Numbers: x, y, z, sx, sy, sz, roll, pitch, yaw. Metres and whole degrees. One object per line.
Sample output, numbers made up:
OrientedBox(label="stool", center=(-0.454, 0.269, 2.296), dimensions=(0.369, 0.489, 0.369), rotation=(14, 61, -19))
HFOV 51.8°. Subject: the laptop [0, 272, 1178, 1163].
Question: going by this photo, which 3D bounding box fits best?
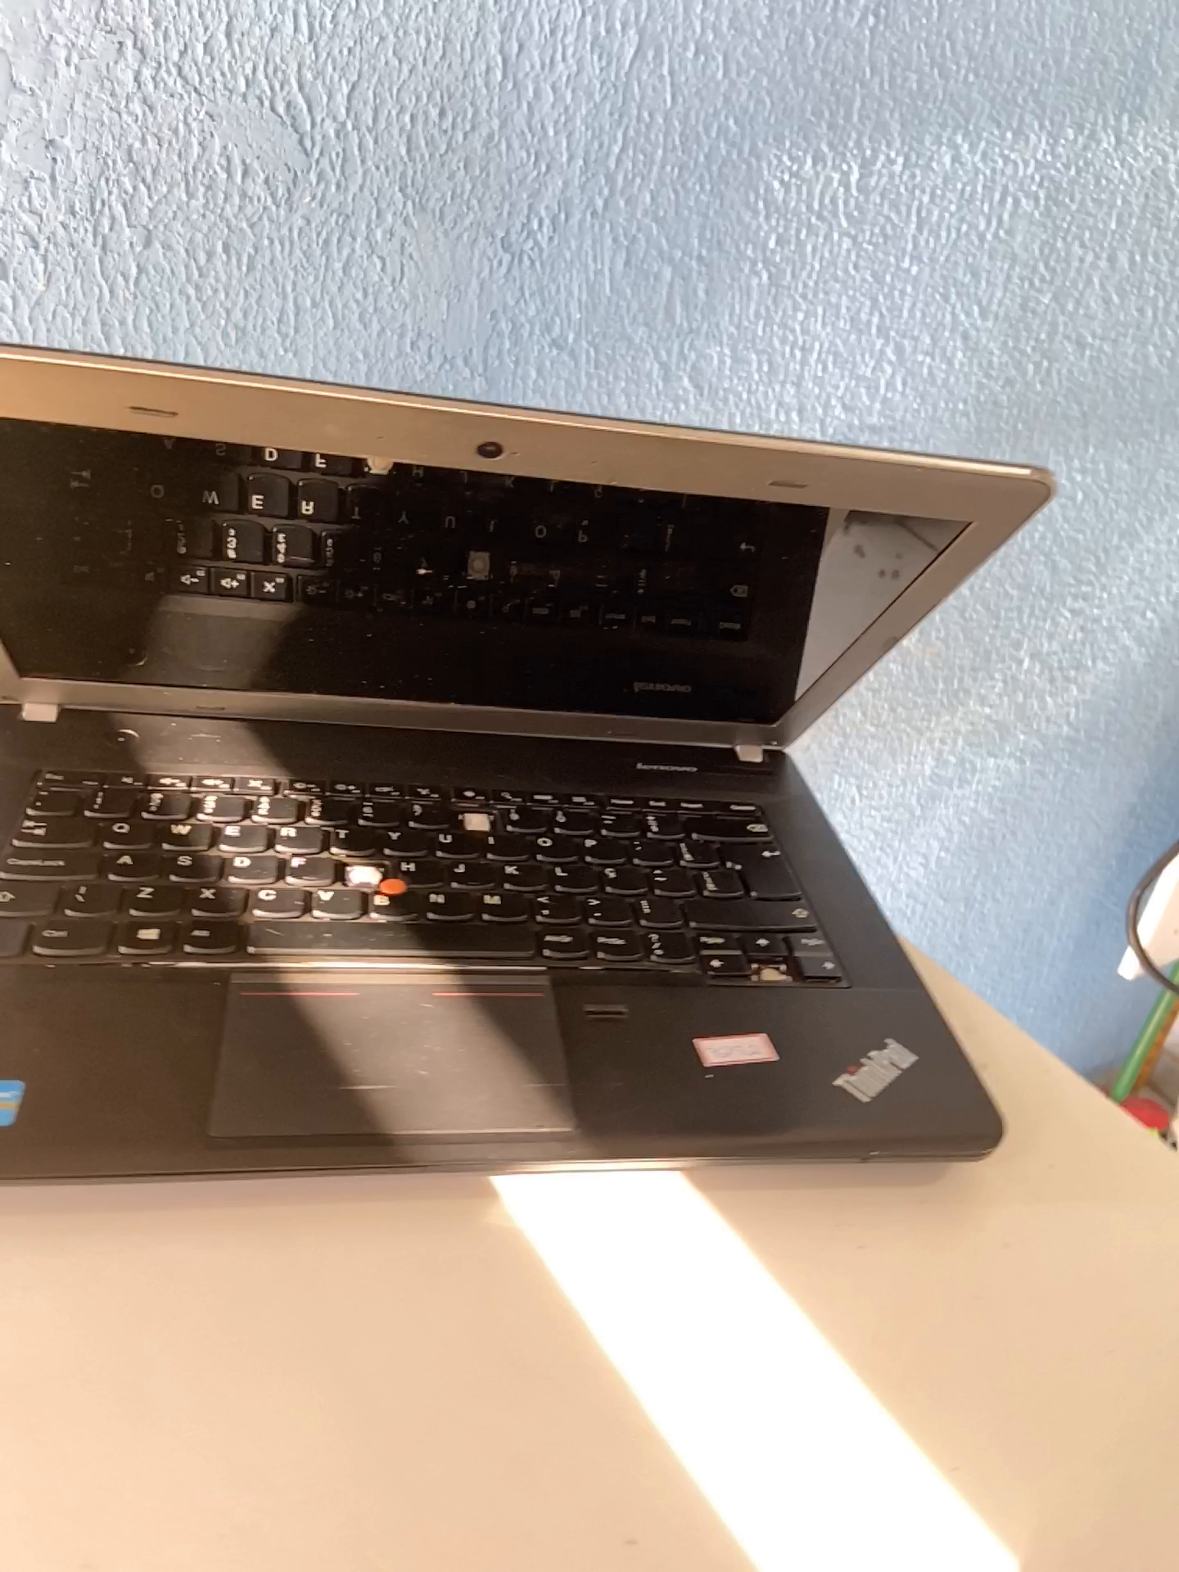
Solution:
OrientedBox(label="laptop", center=(-0.043, -0.035, 0.384), dimensions=(0.330, 0.165, 0.231), rotation=(3, 30, -12))
